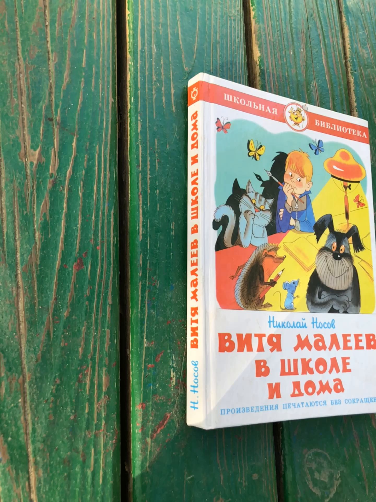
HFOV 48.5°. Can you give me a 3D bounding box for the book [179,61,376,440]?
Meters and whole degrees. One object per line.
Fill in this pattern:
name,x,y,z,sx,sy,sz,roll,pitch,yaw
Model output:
book,0.066,-0.002,0.267,0.145,0.020,0.212,6,76,-25
